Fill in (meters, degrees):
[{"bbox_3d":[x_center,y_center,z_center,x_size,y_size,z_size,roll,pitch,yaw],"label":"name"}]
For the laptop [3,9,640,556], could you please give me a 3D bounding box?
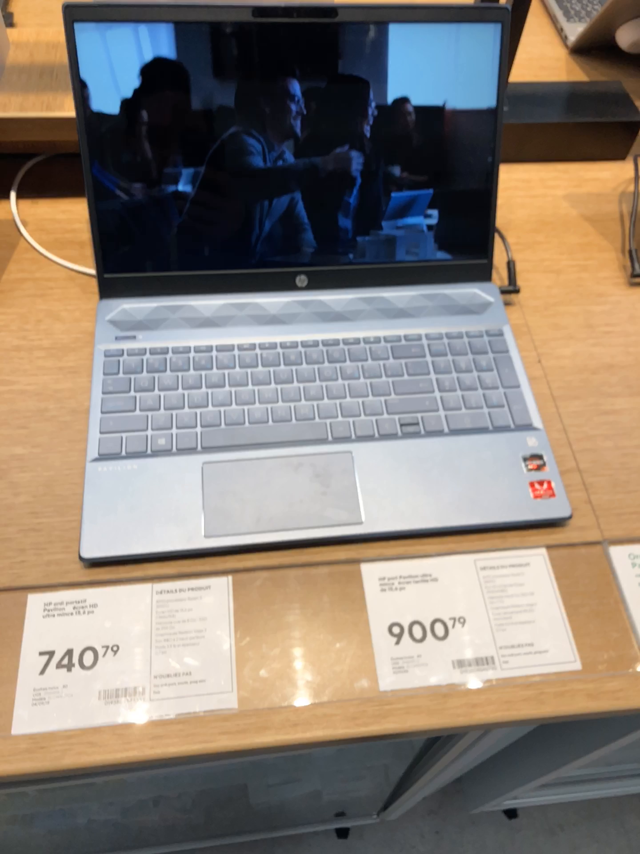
[{"bbox_3d":[-0.007,-0.122,0.524,0.338,0.185,0.356,-4,56,-8],"label":"laptop"}]
